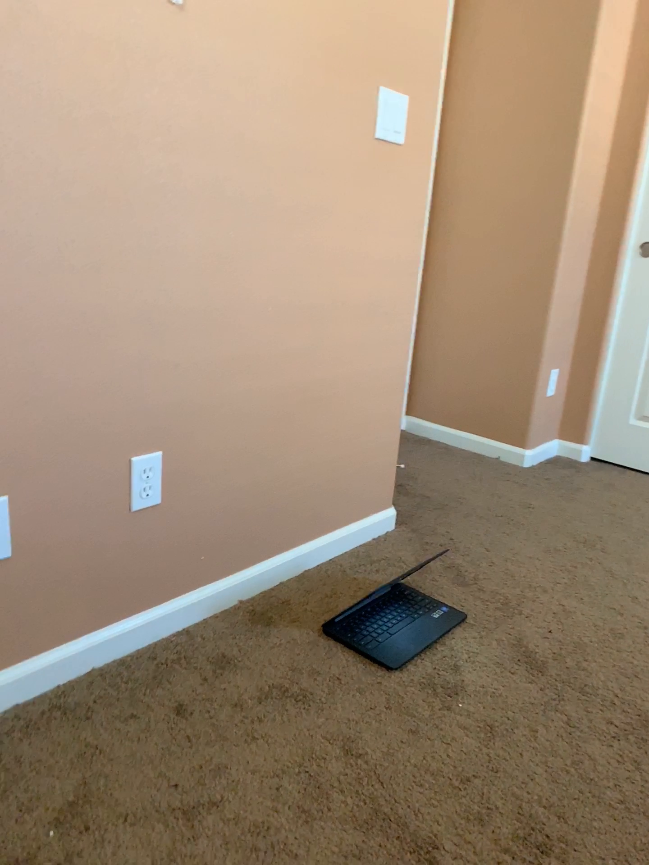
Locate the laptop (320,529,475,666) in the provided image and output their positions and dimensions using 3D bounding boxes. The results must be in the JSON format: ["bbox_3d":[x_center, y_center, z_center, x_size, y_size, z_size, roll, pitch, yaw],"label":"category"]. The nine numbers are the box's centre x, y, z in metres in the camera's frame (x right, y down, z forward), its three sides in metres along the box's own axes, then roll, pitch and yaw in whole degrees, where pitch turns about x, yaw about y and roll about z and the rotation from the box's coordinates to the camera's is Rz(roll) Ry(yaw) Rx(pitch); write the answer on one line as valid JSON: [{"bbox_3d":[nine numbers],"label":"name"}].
[{"bbox_3d":[0.166,0.350,1.465,0.192,0.140,0.292,19,21,38],"label":"laptop"}]
